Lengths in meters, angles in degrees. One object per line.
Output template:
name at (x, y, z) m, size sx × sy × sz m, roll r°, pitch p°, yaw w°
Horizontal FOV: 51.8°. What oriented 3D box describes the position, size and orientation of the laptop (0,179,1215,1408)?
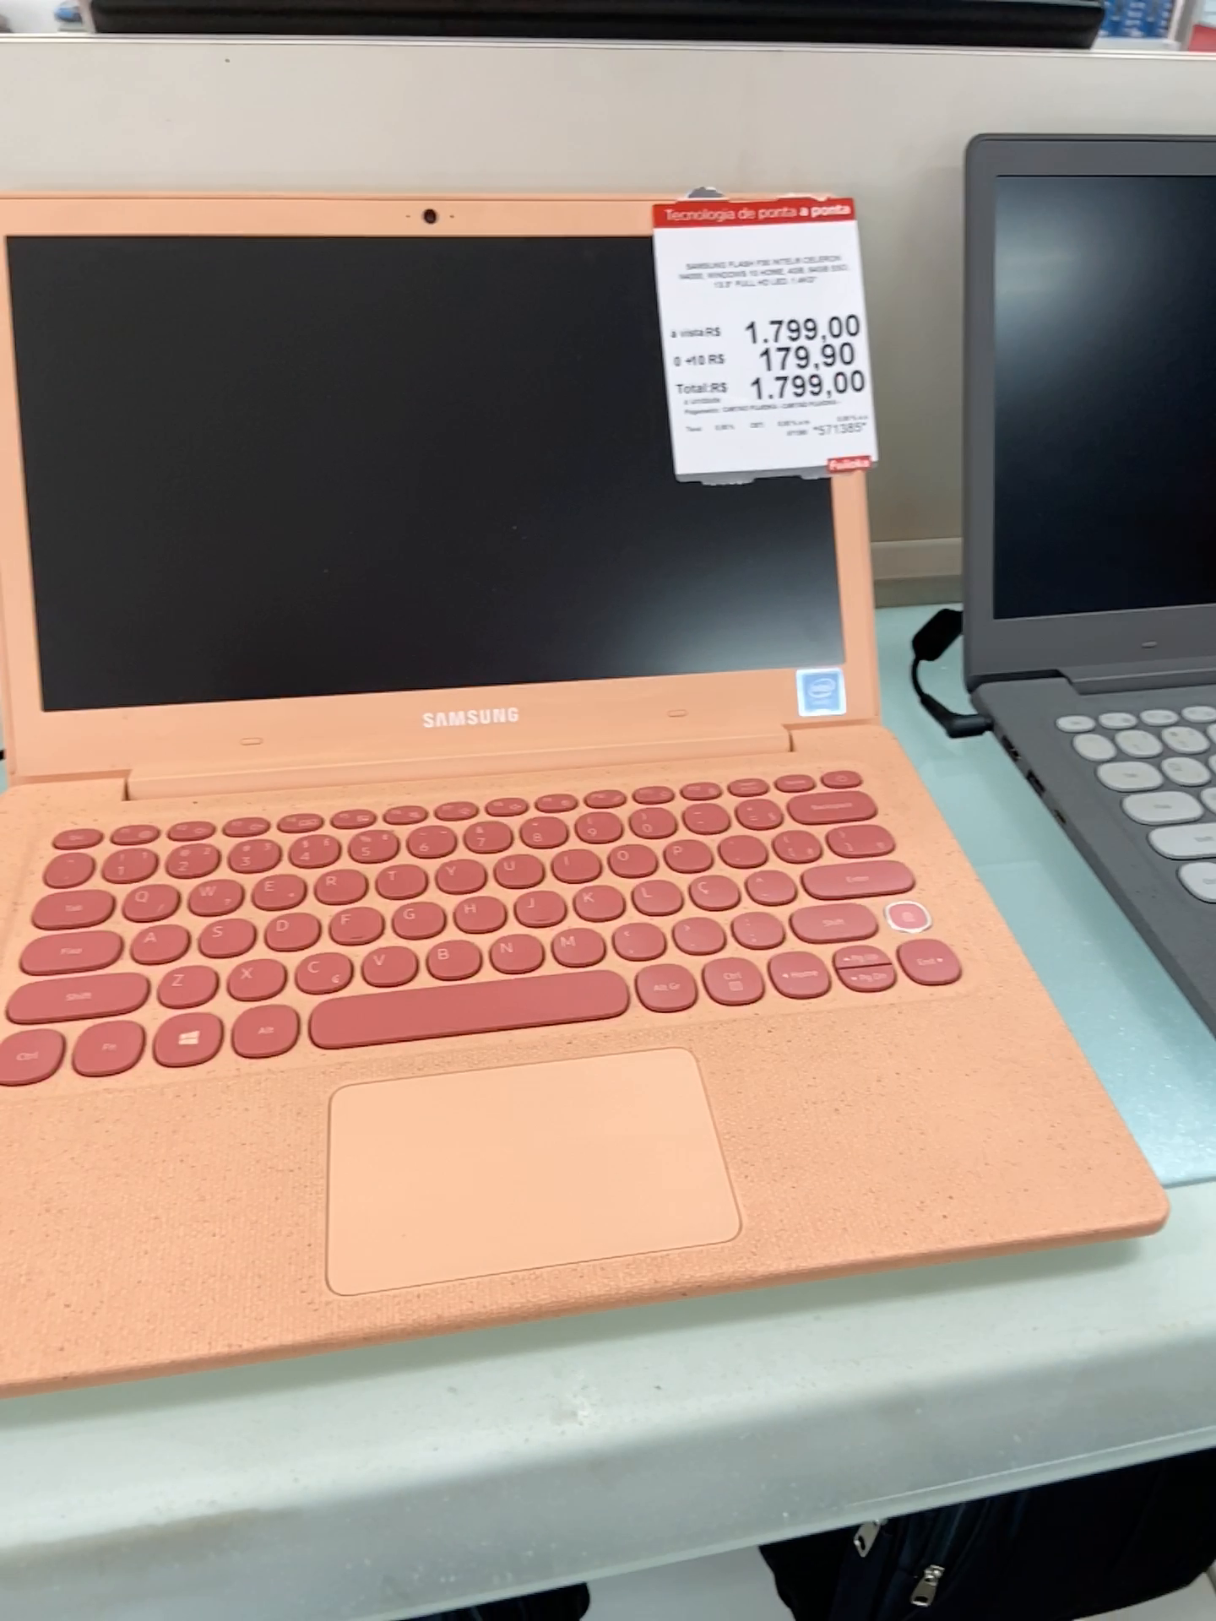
laptop at (-0.040, -0.060, 0.389) m, size 0.329 × 0.160 × 0.361 m, roll -4°, pitch 40°, yaw -8°
